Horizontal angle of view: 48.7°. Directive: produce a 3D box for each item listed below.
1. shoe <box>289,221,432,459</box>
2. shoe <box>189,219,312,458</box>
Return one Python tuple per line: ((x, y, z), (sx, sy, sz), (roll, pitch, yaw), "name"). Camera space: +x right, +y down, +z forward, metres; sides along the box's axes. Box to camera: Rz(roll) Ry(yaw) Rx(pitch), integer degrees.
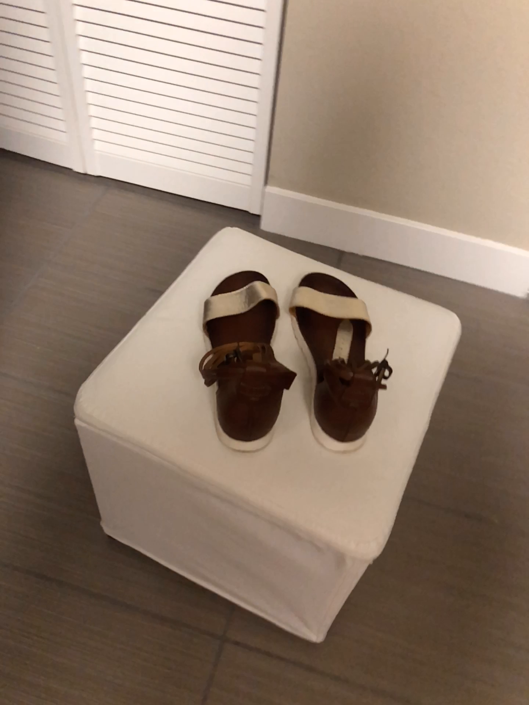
((0.092, -0.023, 0.644), (0.110, 0.090, 0.261), (3, 50, -5), "shoe")
((-0.017, -0.024, 0.639), (0.110, 0.090, 0.261), (3, 50, -5), "shoe")
